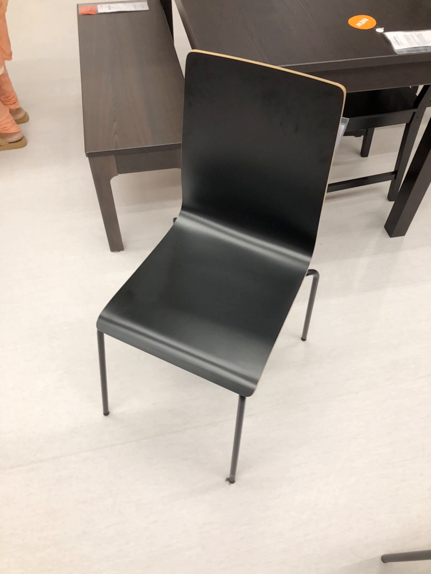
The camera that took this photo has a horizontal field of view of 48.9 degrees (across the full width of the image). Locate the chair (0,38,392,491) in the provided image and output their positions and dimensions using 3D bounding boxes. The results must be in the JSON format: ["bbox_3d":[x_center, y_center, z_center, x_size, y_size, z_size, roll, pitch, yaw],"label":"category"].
[{"bbox_3d":[-0.007,0.000,1.092,0.451,0.805,0.532,23,55,16],"label":"chair"}]
